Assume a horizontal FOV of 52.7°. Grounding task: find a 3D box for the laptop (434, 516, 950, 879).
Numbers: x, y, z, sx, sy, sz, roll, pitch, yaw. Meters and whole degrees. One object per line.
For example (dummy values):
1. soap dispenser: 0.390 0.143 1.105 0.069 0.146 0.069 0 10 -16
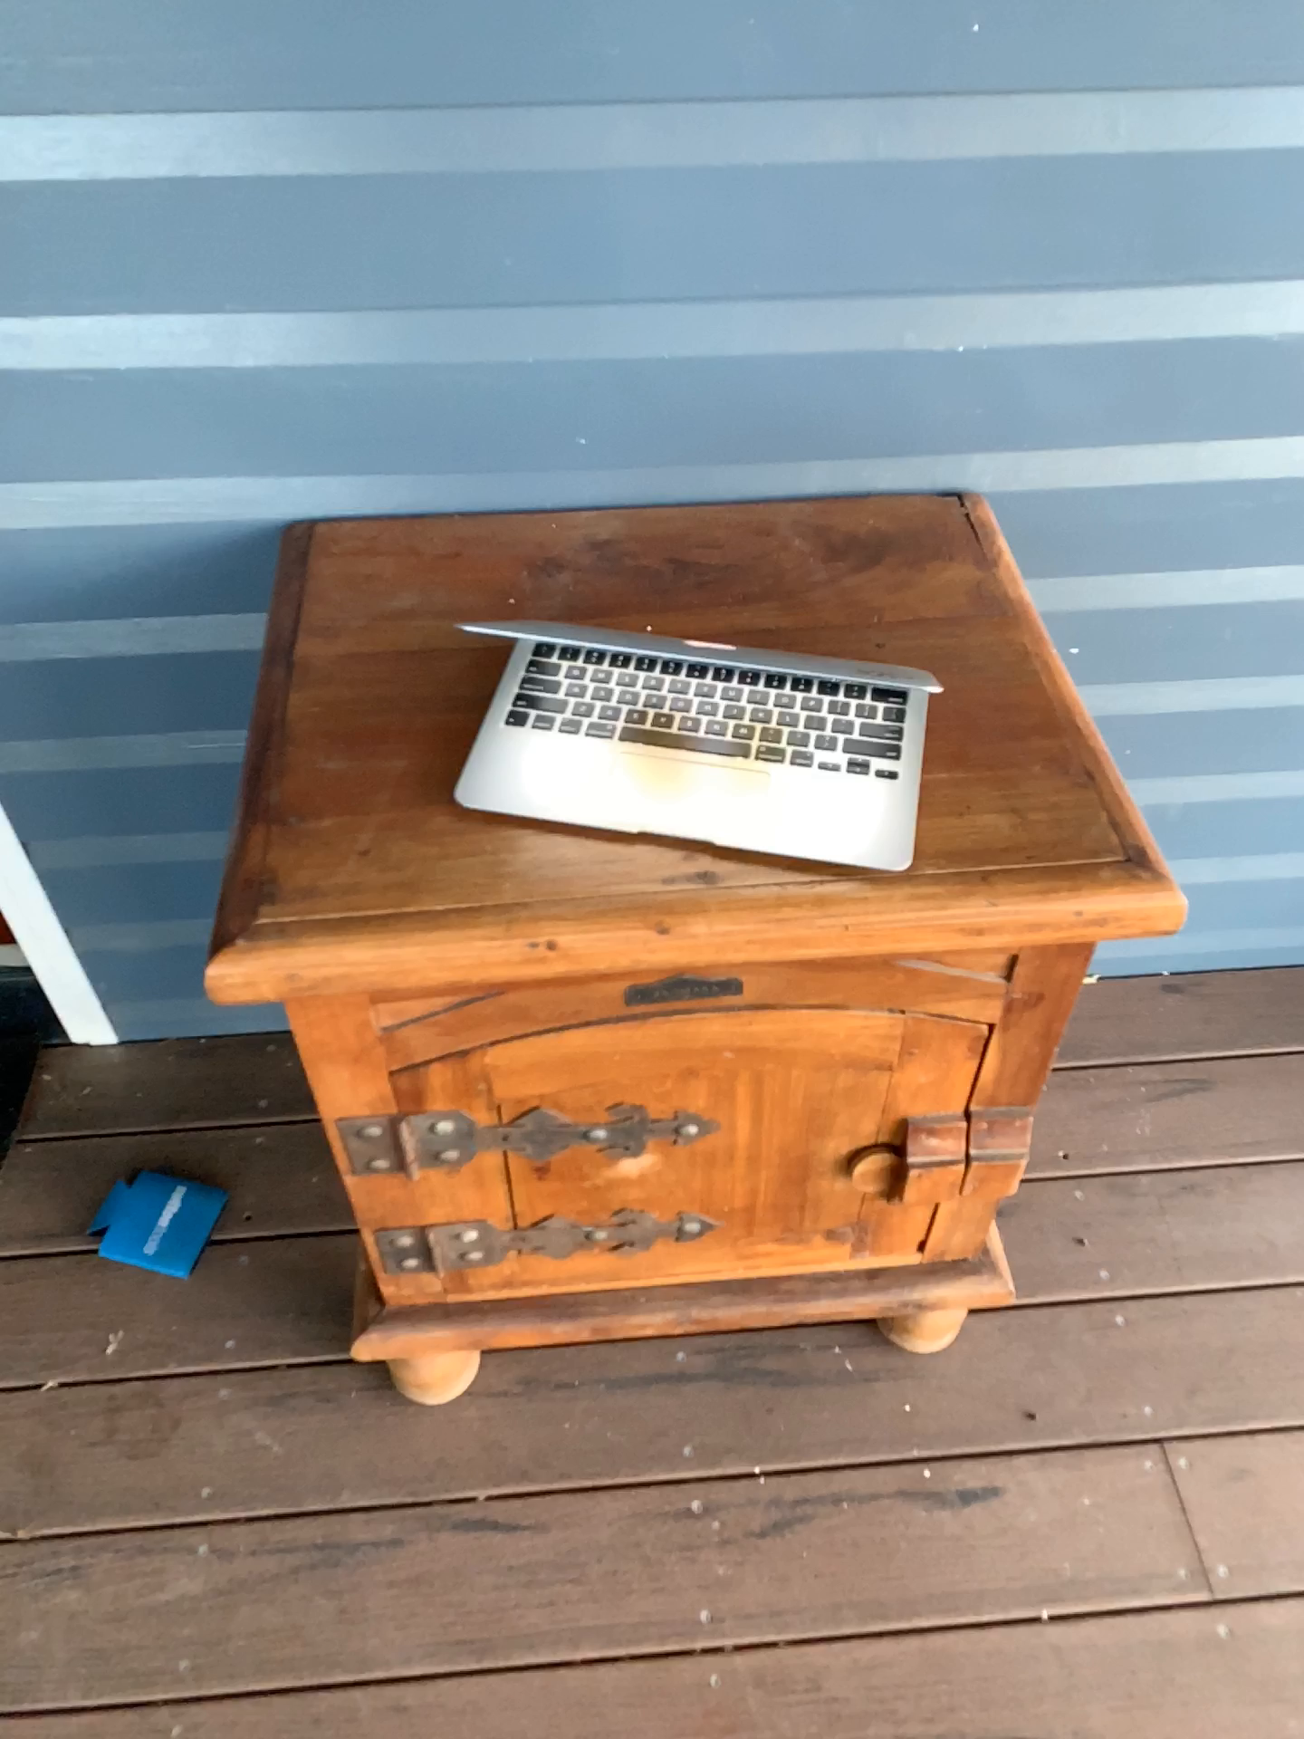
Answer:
1. laptop: 0.032 -0.114 0.829 0.282 0.099 0.180 8 48 8
